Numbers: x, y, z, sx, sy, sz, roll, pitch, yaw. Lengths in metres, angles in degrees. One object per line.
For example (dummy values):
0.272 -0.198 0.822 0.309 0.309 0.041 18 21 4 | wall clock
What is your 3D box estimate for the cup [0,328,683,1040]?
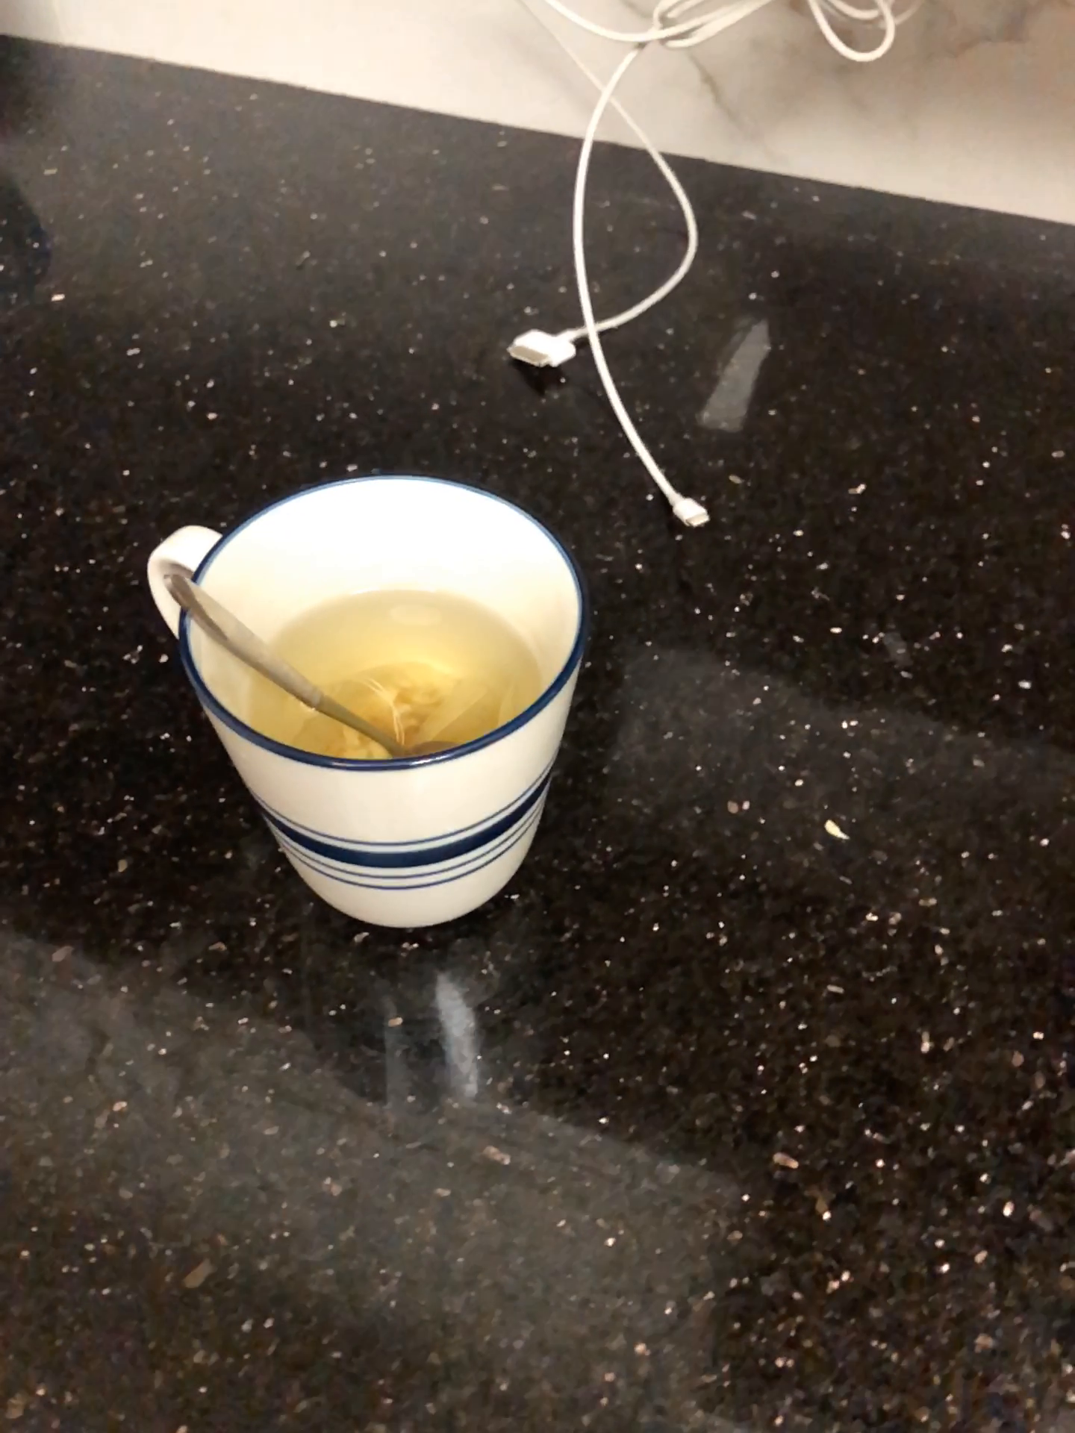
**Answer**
-0.044 -0.010 0.295 0.120 0.100 0.090 33 59 22 | cup
